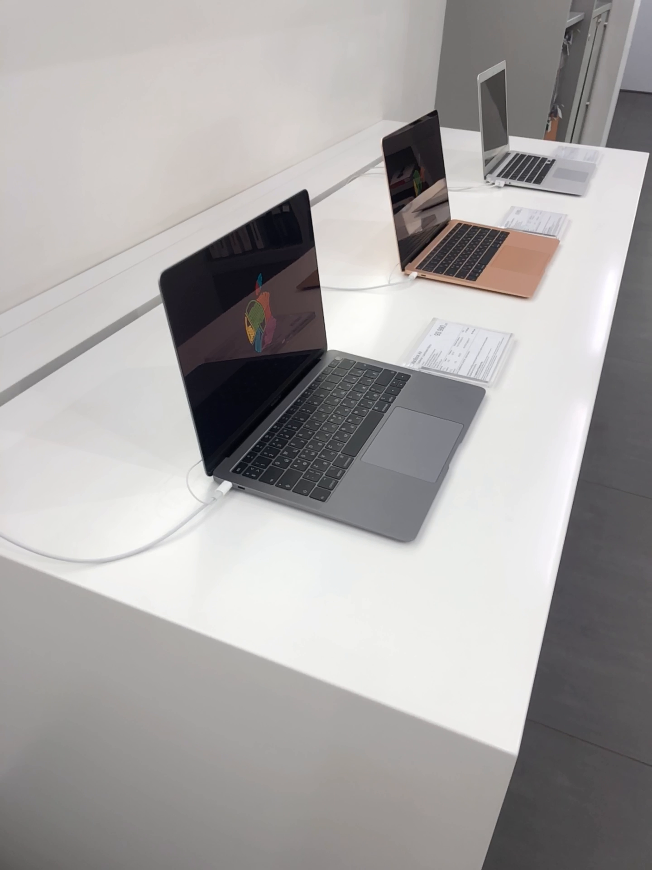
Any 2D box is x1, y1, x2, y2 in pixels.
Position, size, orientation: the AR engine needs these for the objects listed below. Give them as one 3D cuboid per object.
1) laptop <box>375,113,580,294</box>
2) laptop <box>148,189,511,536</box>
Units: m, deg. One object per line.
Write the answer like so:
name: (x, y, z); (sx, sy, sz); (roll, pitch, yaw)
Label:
laptop: (0.255, -0.401, 1.189); (0.260, 0.184, 0.294); (16, 36, 19)
laptop: (0.019, -0.095, 0.725); (0.250, 0.194, 0.286); (16, 36, 16)
